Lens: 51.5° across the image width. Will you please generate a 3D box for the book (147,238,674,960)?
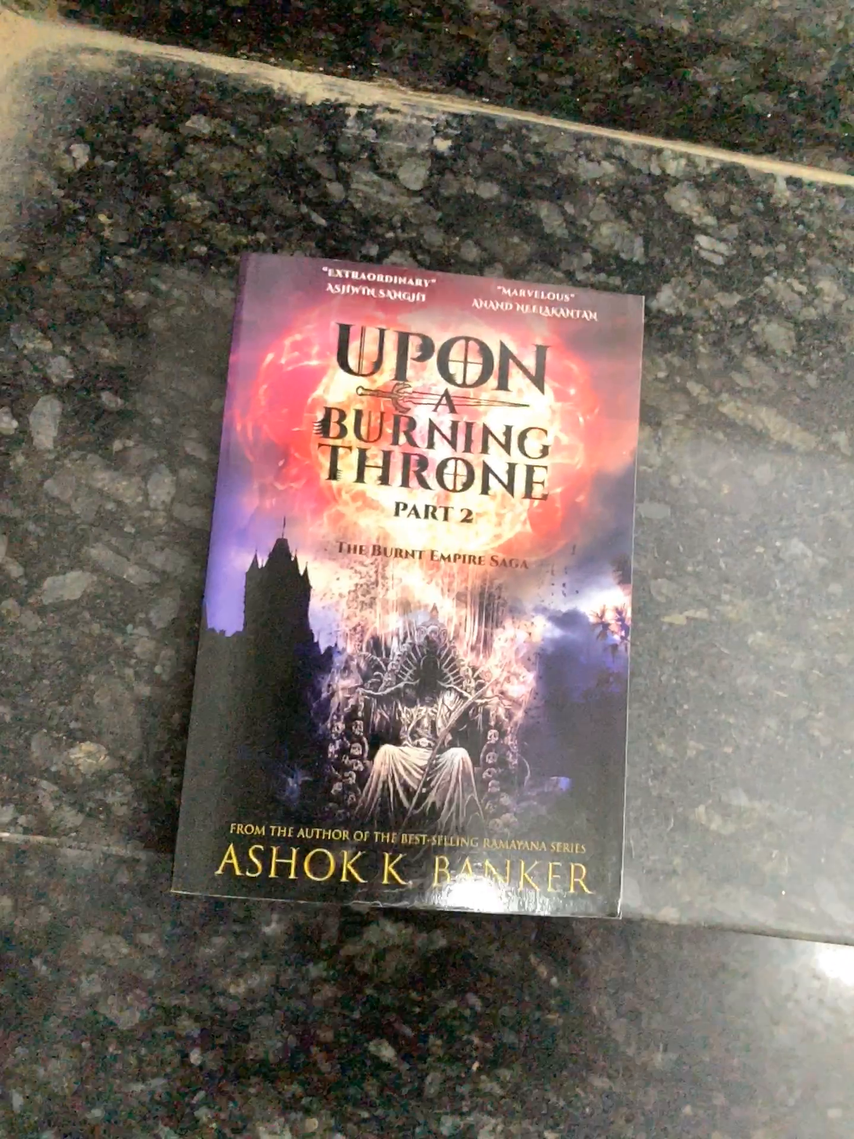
[{"bbox_3d":[0.001,0.007,0.270,0.140,0.030,0.200,4,80,-5],"label":"book"}]
